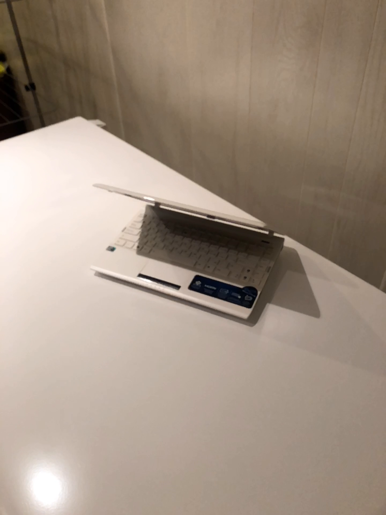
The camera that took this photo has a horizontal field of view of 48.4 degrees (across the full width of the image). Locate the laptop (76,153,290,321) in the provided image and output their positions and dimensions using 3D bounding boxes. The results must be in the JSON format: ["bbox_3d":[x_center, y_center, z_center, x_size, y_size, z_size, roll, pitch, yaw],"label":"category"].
[{"bbox_3d":[-0.011,-0.051,0.735,0.298,0.115,0.199,15,47,20],"label":"laptop"}]
